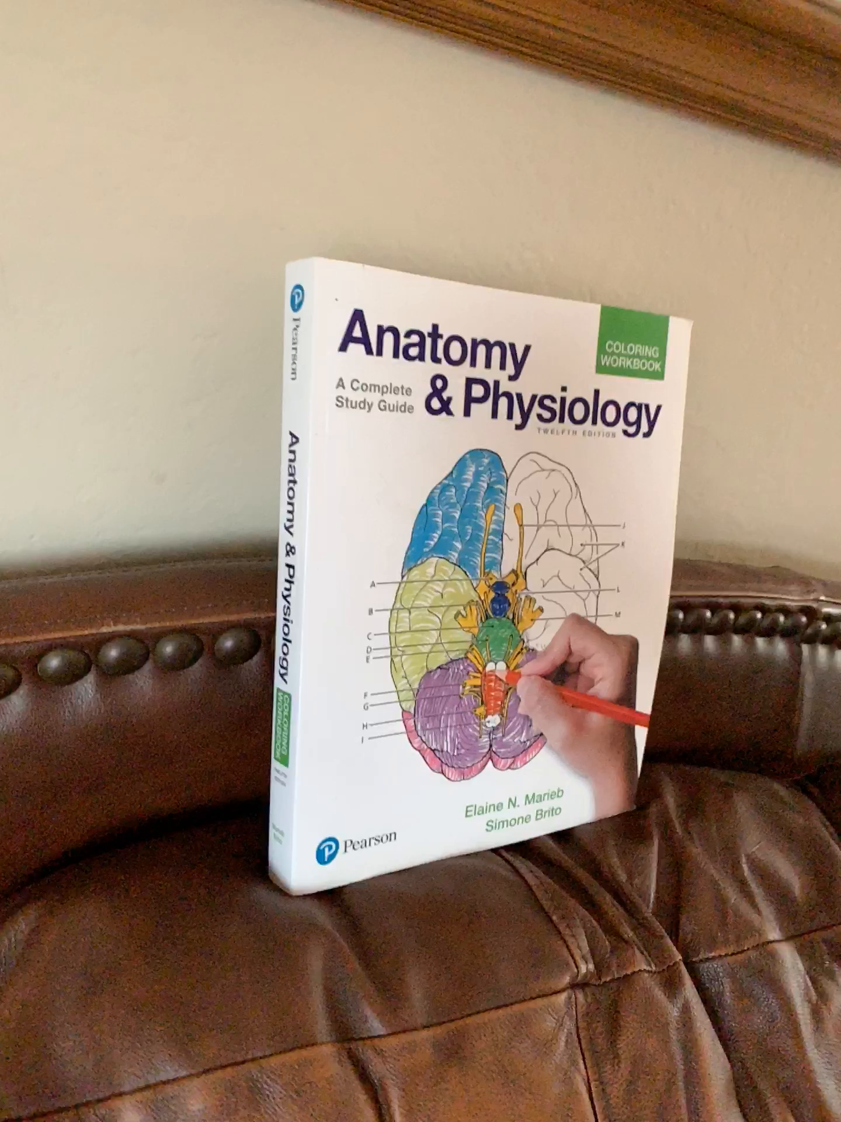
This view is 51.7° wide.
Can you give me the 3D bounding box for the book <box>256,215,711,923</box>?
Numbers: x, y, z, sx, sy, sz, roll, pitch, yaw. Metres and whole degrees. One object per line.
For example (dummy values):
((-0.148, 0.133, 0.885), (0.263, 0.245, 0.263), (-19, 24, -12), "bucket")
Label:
((0.034, 0.001, 0.432), (0.220, 0.290, 0.060), (-3, 10, -31), "book")
